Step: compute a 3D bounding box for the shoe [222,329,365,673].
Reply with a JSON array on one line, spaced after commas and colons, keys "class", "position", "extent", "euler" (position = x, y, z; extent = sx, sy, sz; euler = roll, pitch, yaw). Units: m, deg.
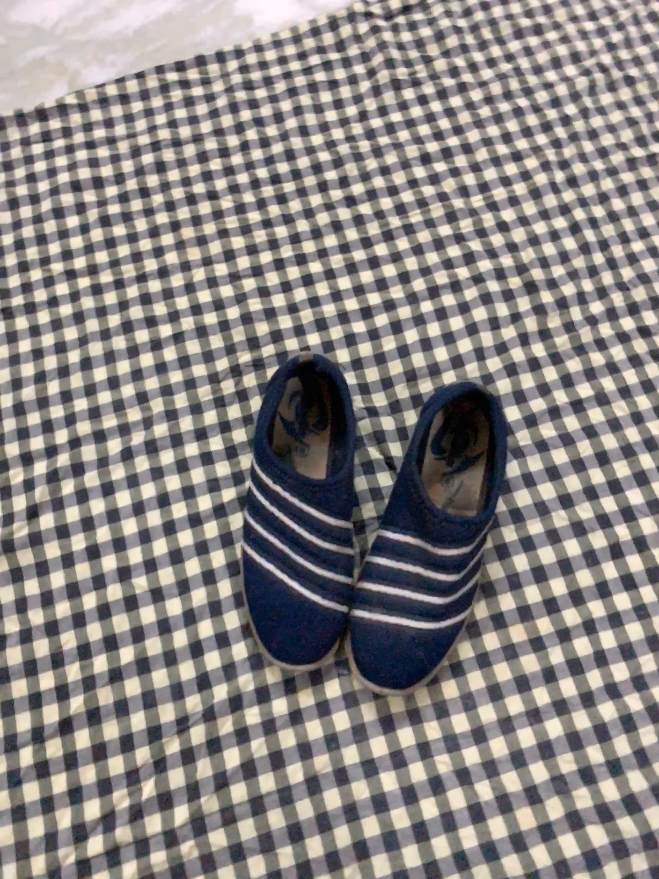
[{"class": "shoe", "position": [-0.020, 0.047, 0.524], "extent": [0.090, 0.090, 0.251], "euler": [1, 71, 3]}]

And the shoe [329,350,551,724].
[{"class": "shoe", "position": [0.085, 0.072, 0.522], "extent": [0.090, 0.100, 0.251], "euler": [18, 73, 8]}]
